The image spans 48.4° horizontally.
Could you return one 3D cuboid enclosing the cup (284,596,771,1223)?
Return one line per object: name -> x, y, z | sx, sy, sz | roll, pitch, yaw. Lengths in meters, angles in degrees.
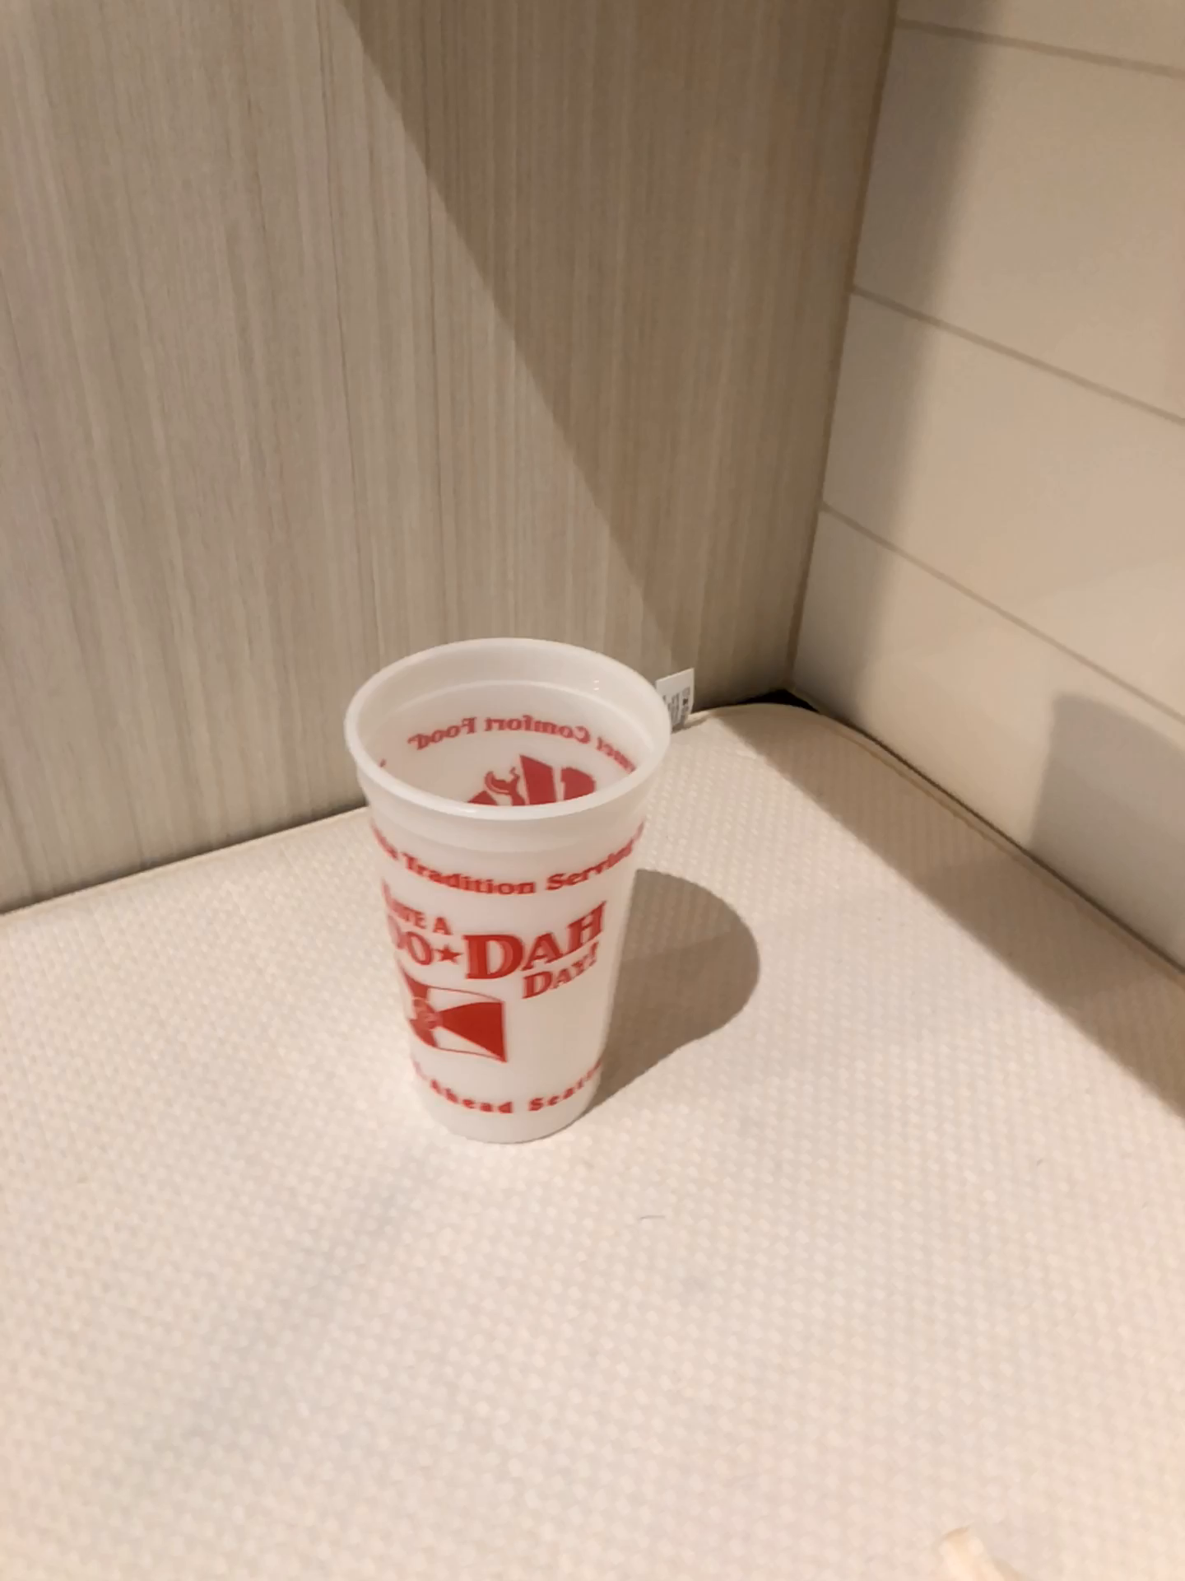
cup -> -0.018, 0.034, 0.415 | 0.100, 0.139, 0.100 | 2, 35, -1
